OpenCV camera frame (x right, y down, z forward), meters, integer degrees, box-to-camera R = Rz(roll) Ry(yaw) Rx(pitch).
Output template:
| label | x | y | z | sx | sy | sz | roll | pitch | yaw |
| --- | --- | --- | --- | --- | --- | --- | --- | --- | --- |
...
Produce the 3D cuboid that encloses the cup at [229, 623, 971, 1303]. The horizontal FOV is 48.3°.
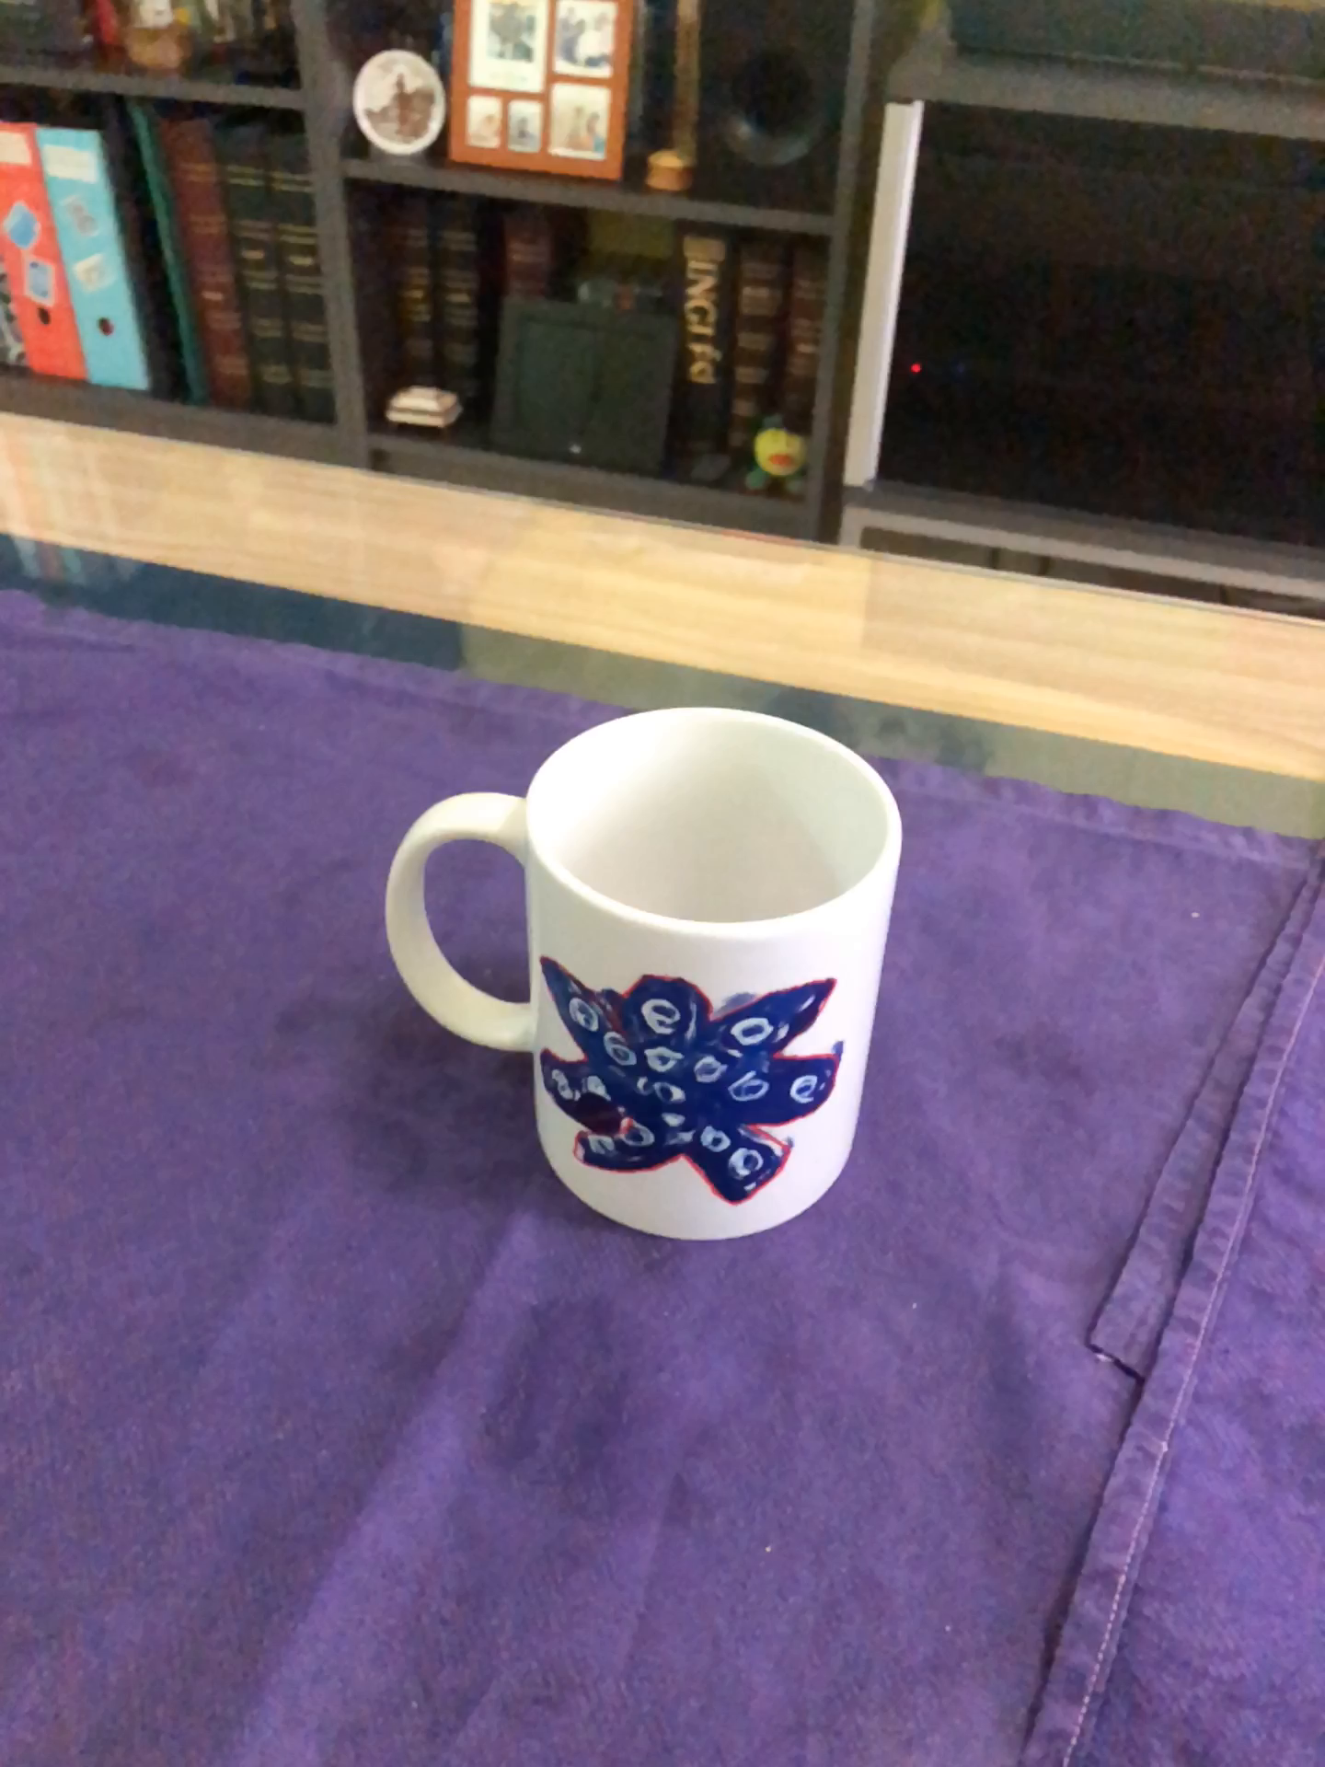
| label | x | y | z | sx | sy | sz | roll | pitch | yaw |
| --- | --- | --- | --- | --- | --- | --- | --- | --- | --- |
| cup | -0.011 | 0.013 | 0.330 | 0.130 | 0.090 | 0.080 | 16 | 41 | 17 |
